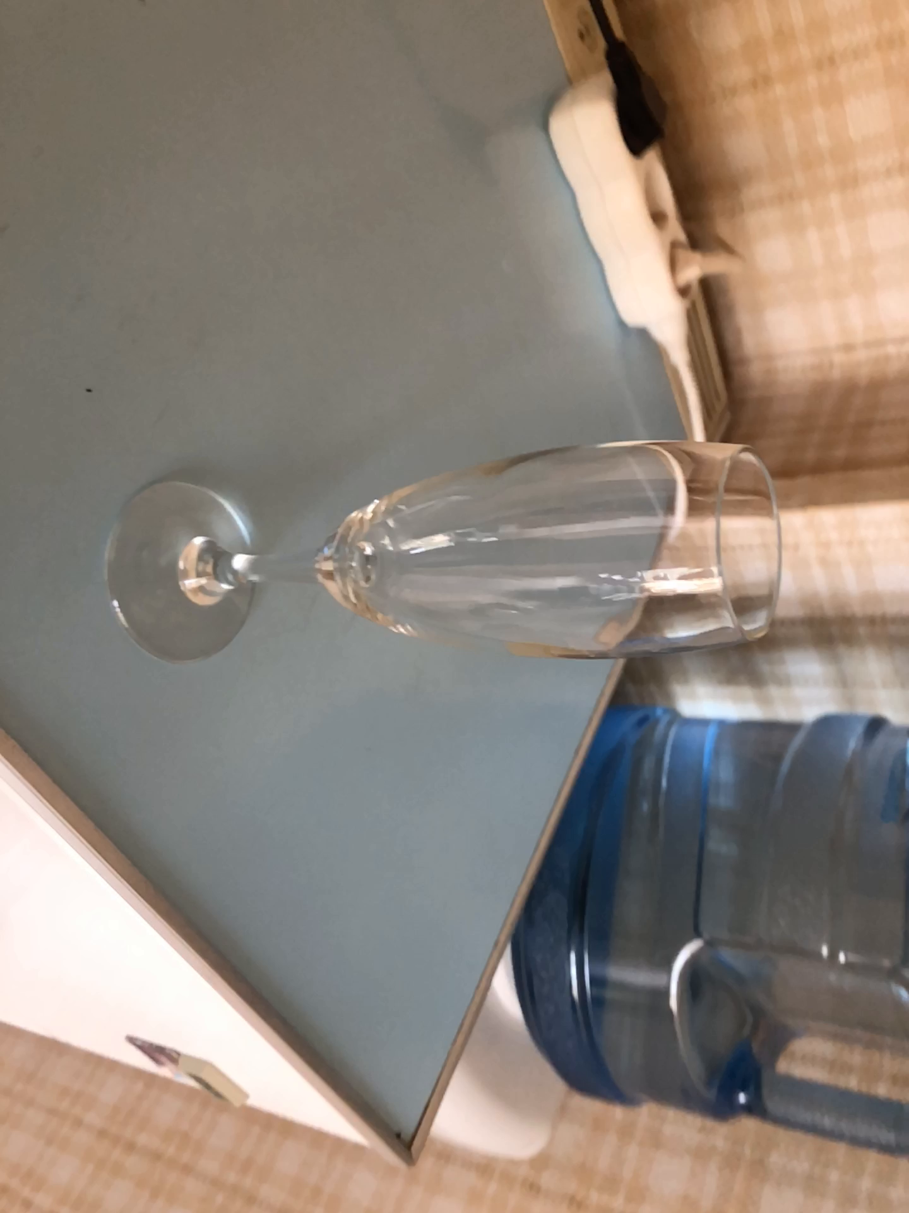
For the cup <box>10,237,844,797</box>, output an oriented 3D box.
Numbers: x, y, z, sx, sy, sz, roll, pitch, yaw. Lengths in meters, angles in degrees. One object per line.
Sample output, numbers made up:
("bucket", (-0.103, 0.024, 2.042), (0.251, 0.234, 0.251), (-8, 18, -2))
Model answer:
("cup", (-0.009, -0.016, 0.286), (0.090, 0.199, 0.090), (5, 84, -55))
